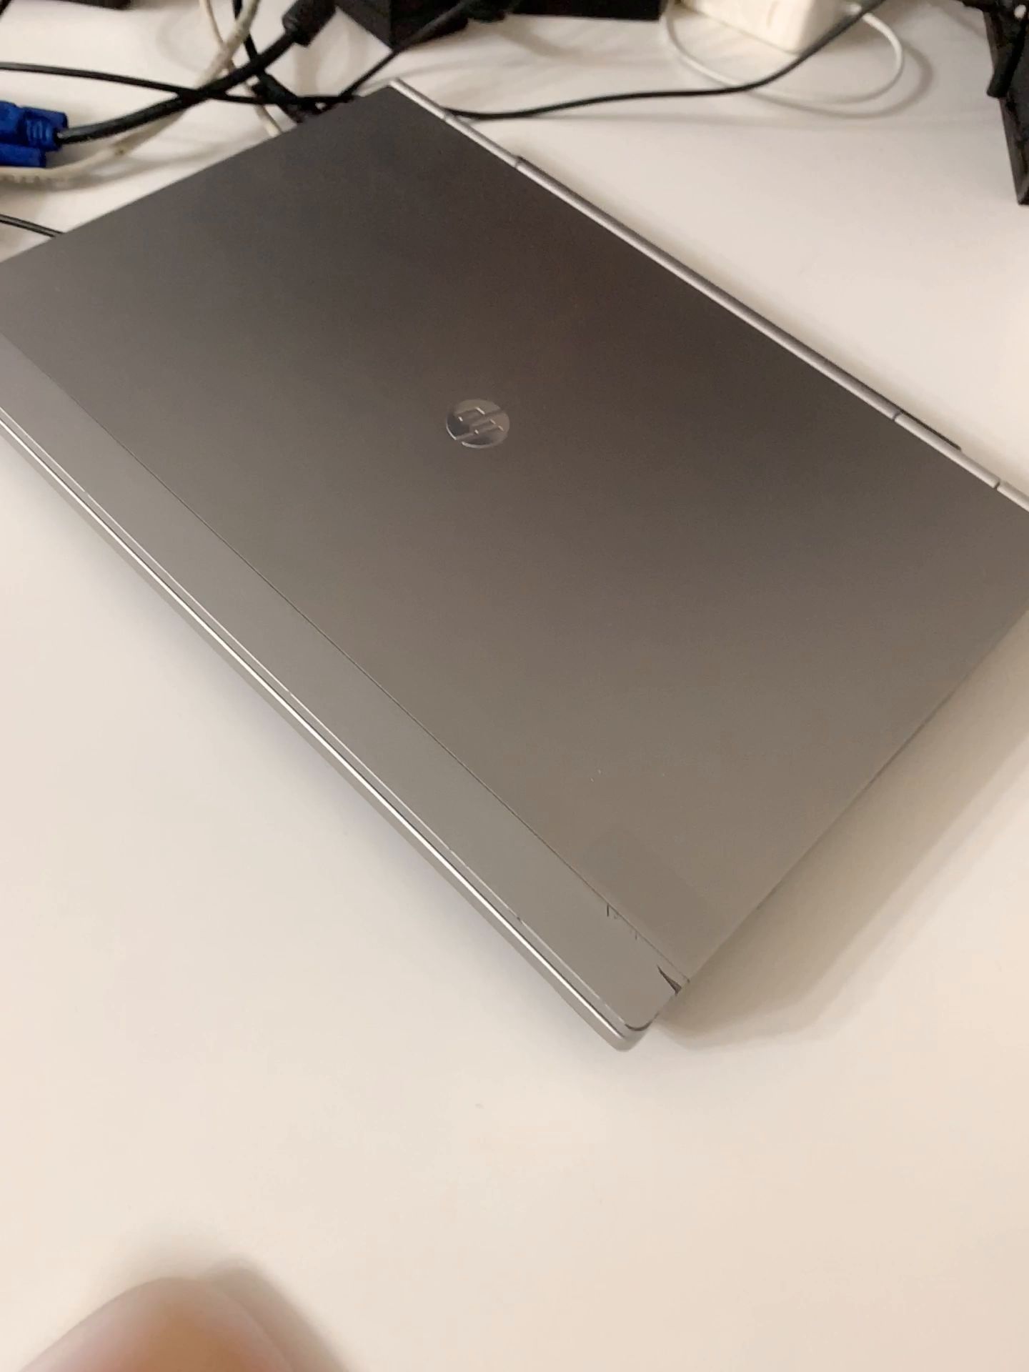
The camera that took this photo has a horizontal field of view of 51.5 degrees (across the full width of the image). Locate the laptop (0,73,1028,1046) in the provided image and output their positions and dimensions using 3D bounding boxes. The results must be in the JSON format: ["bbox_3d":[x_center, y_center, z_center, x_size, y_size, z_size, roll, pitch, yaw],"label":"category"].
[{"bbox_3d":[-0.010,-0.073,0.322,0.192,0.016,0.292,-40,70,-22],"label":"laptop"}]
